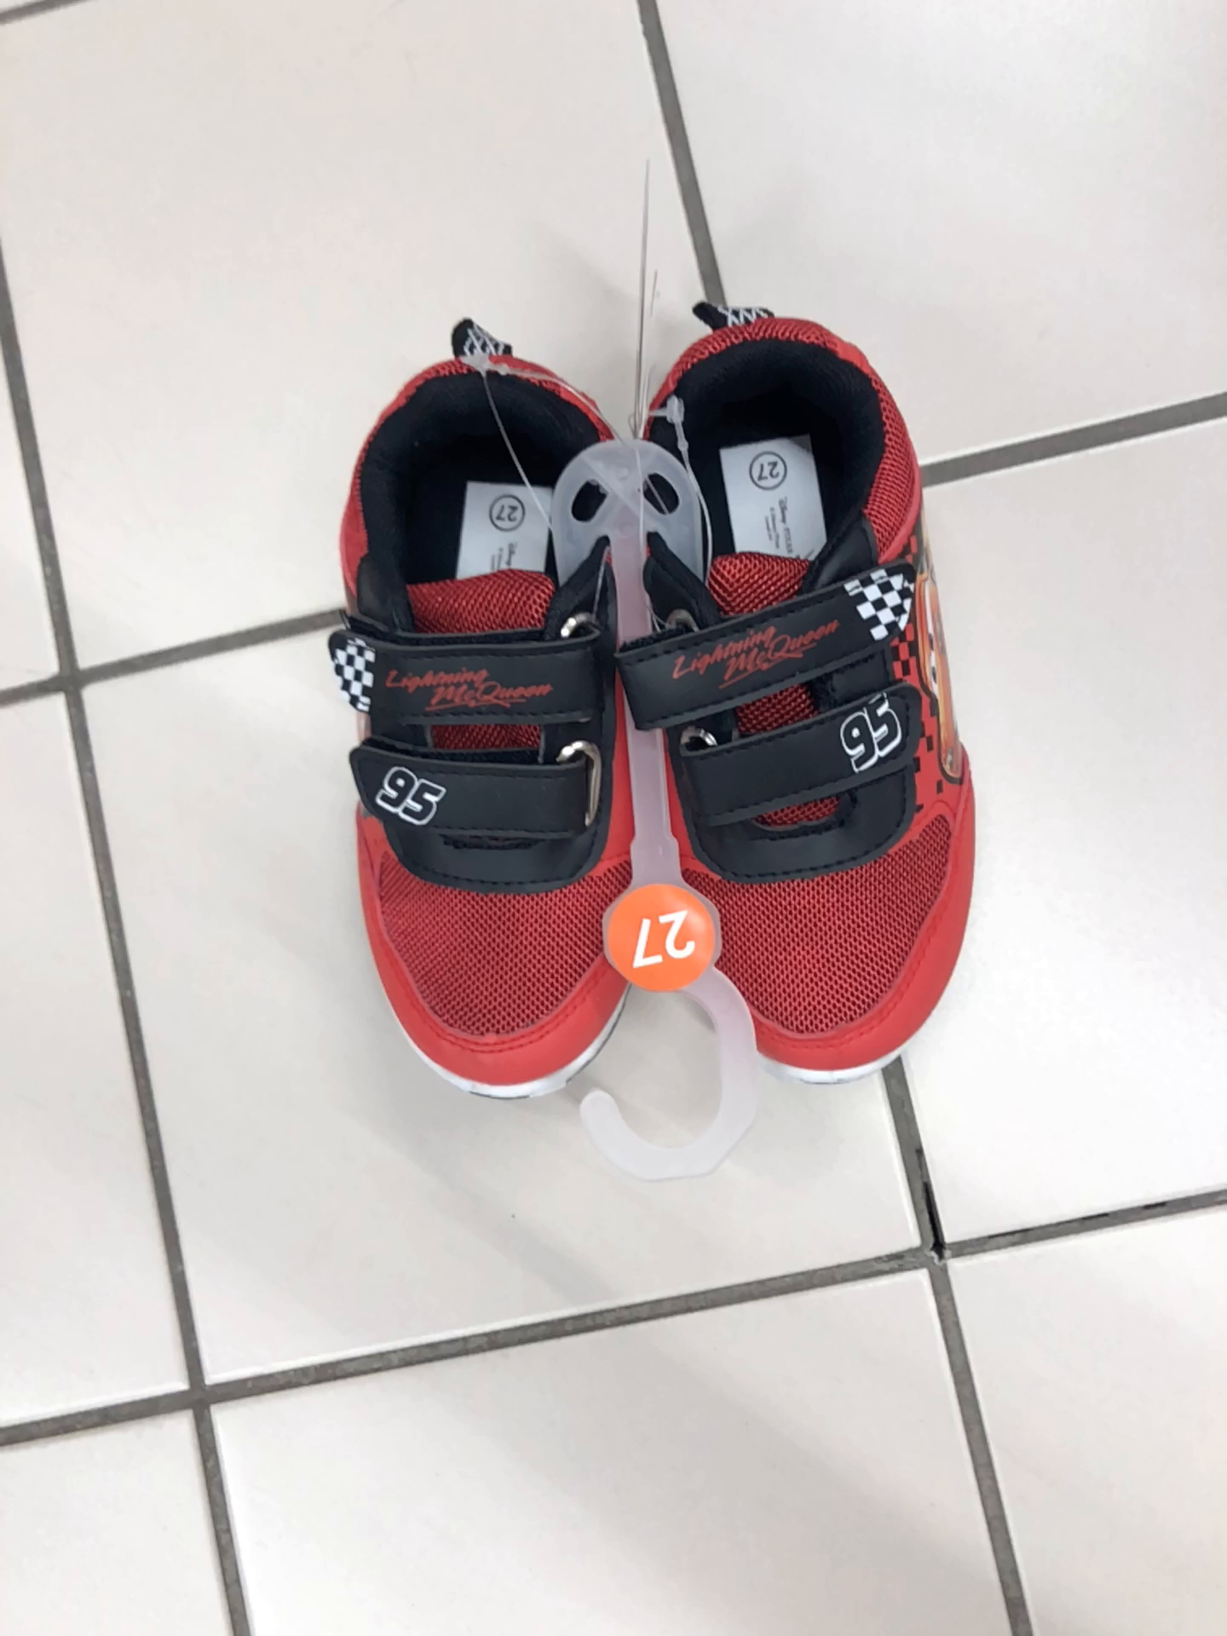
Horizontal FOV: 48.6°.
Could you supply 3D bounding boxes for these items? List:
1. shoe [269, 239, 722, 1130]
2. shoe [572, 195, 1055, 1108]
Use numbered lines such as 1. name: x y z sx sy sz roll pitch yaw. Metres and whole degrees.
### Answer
1. shoe: -0.026 -0.029 0.341 0.087 0.073 0.194 -5 85 5
2. shoe: 0.045 -0.035 0.334 0.087 0.074 0.194 -5 85 5
